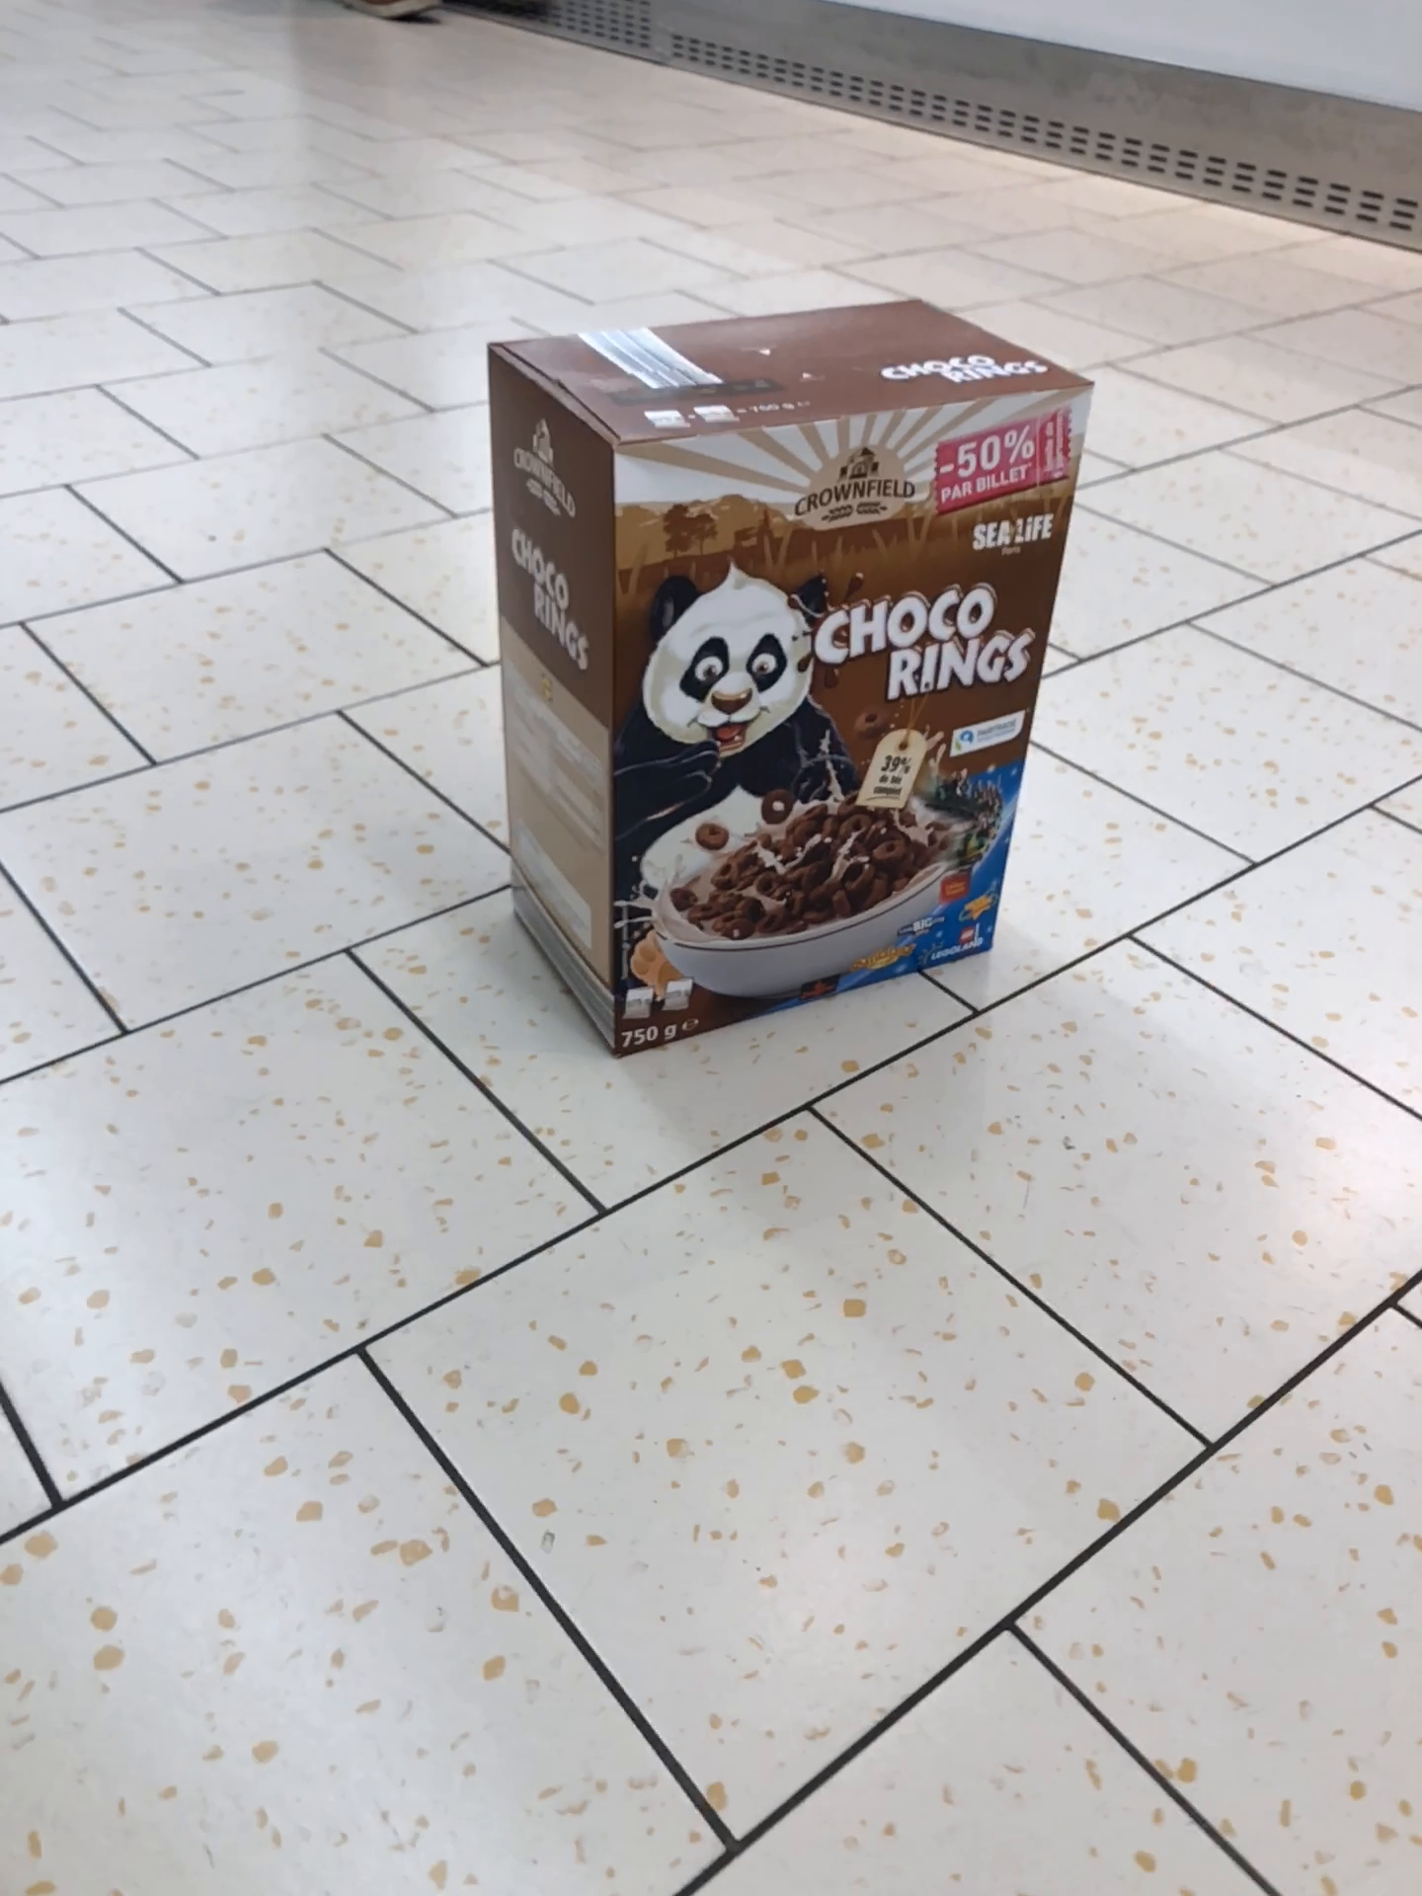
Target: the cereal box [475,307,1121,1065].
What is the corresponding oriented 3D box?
[{"bbox_3d":[0.025,-0.111,0.649,0.201,0.248,0.130,-14,39,-22],"label":"cereal box"}]
